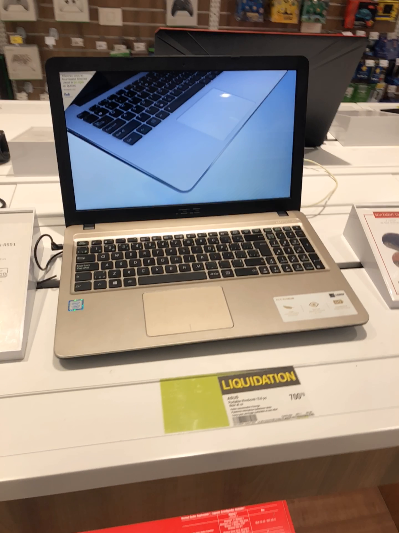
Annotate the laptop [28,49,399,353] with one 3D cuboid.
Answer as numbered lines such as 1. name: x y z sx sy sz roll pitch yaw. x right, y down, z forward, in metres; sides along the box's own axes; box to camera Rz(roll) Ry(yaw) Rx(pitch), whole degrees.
1. laptop: 0.001 -0.113 0.577 0.370 0.204 0.339 -4 43 -11
